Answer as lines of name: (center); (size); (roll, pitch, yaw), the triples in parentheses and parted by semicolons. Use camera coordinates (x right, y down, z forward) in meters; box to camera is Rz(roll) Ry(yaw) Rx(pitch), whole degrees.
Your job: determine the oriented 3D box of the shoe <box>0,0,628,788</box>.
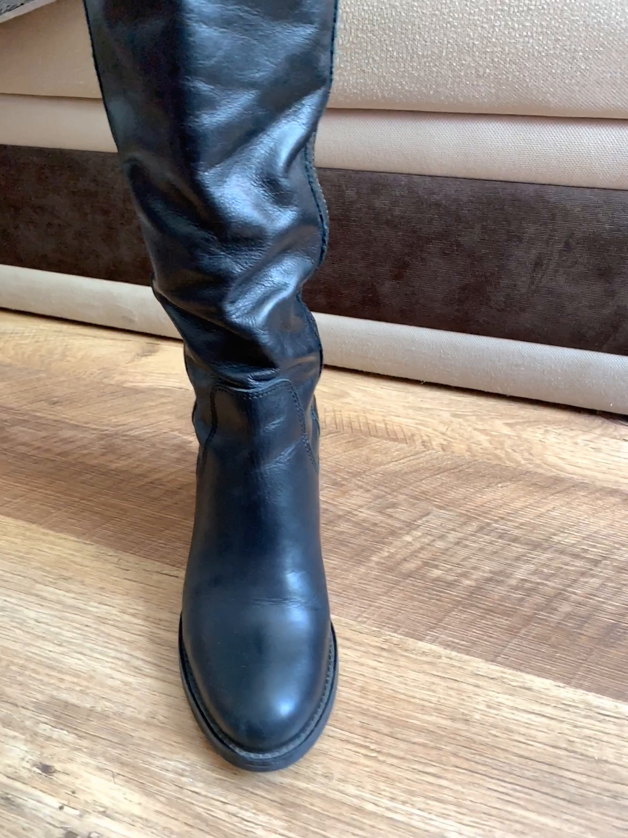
shoe: (-0.032, -0.109, 0.242); (0.100, 0.497, 0.211); (-2, 32, -3)
